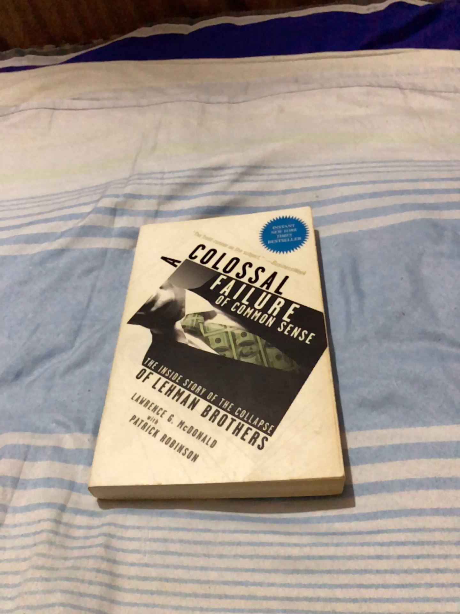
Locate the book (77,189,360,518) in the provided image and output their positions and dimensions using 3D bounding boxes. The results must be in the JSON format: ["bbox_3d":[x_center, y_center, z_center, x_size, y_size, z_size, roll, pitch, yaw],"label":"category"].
[{"bbox_3d":[-0.004,0.015,0.336,0.140,0.040,0.221,-4,51,6],"label":"book"}]
